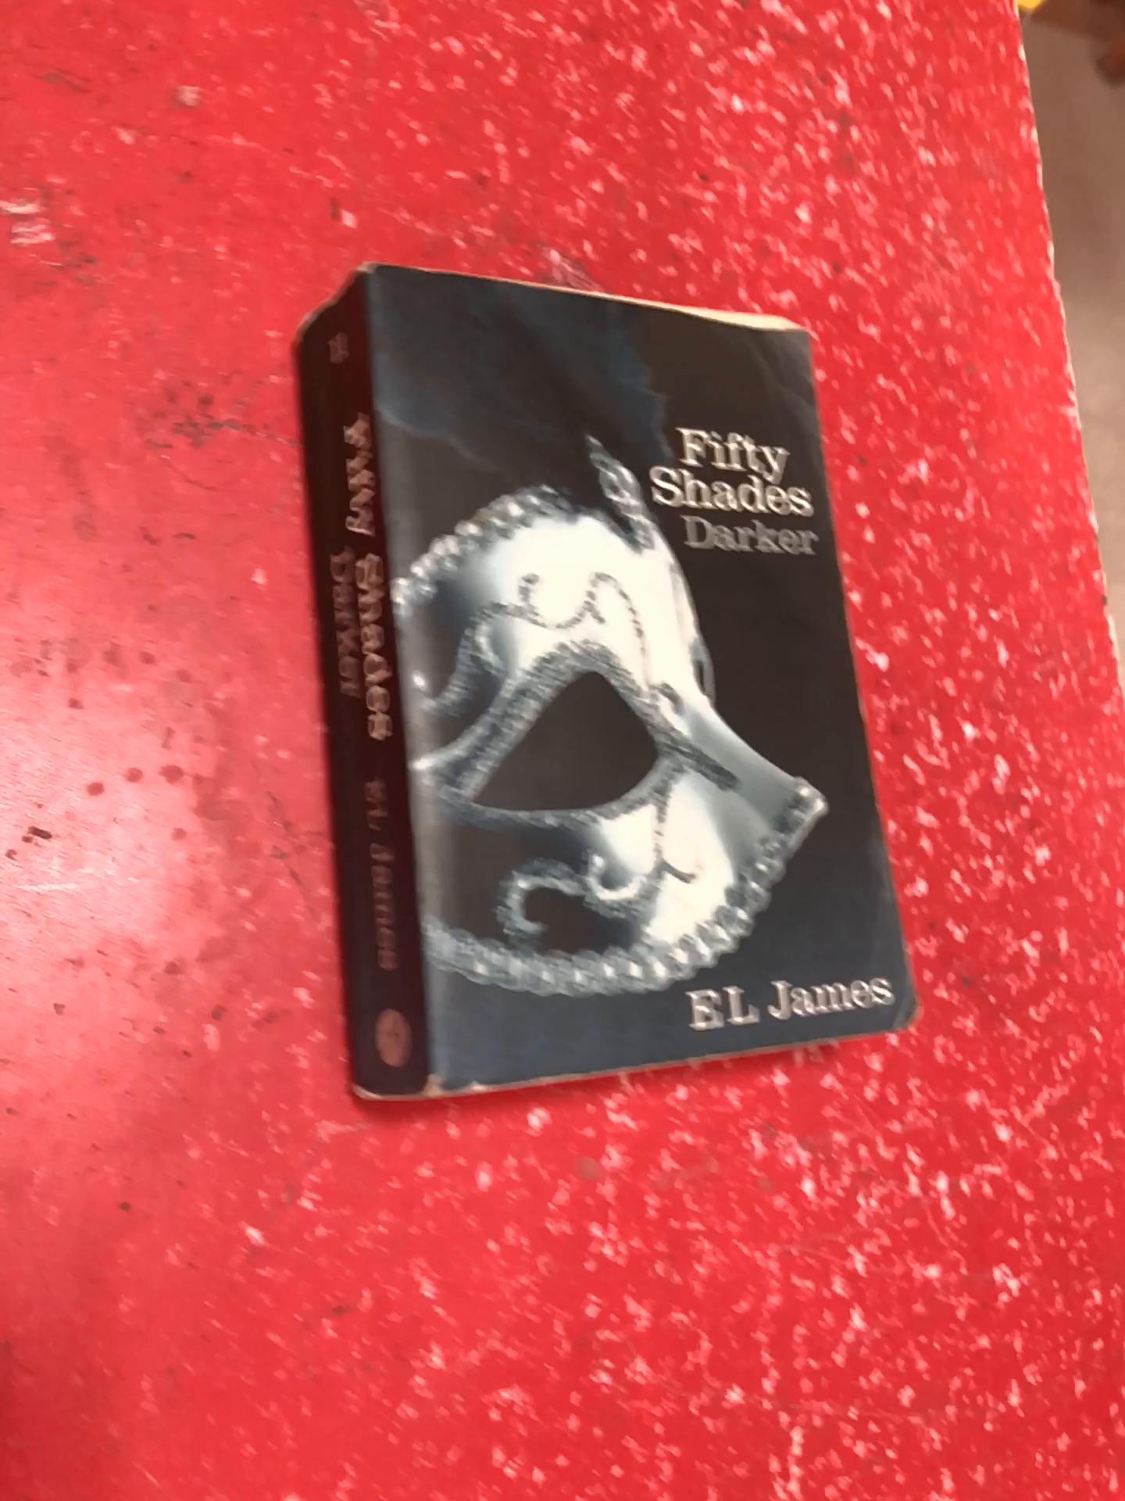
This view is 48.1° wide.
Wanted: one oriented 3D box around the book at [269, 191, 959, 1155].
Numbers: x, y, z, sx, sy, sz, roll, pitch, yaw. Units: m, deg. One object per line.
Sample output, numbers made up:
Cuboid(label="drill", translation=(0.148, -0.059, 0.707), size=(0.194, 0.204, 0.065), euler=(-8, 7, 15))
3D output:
Cuboid(label="book", translation=(0.009, -0.020, 0.316), size=(0.140, 0.050, 0.210), euler=(-2, 78, -25))
